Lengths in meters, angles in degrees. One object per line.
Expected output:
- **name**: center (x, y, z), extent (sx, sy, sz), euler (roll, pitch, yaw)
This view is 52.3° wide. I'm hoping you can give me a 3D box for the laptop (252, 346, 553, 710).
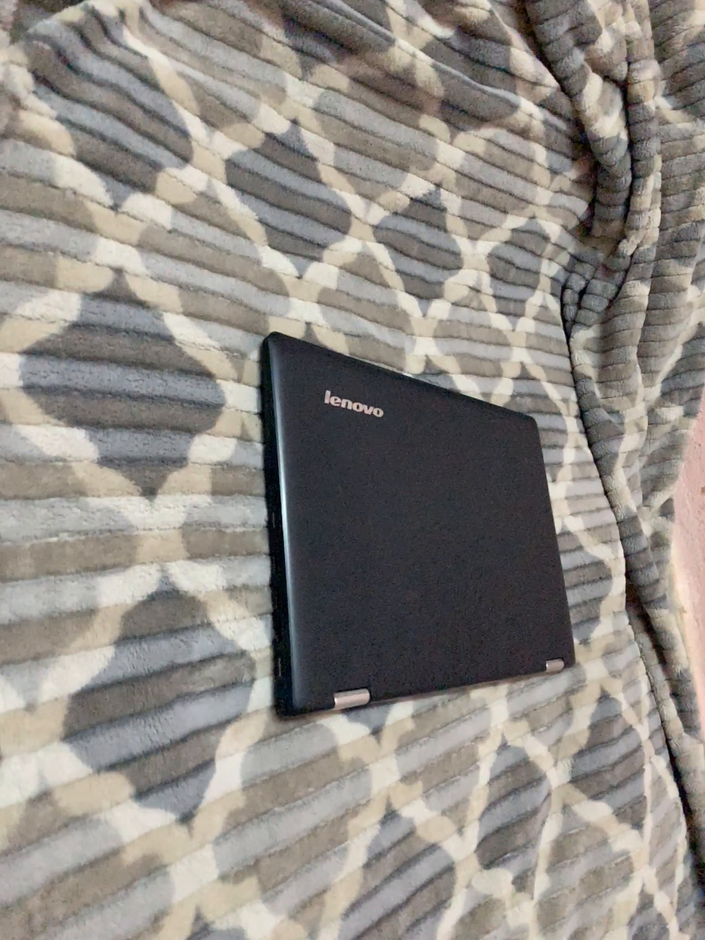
- **laptop**: center (0.059, 0.048, 0.566), extent (0.340, 0.003, 0.228), euler (10, 70, -46)
